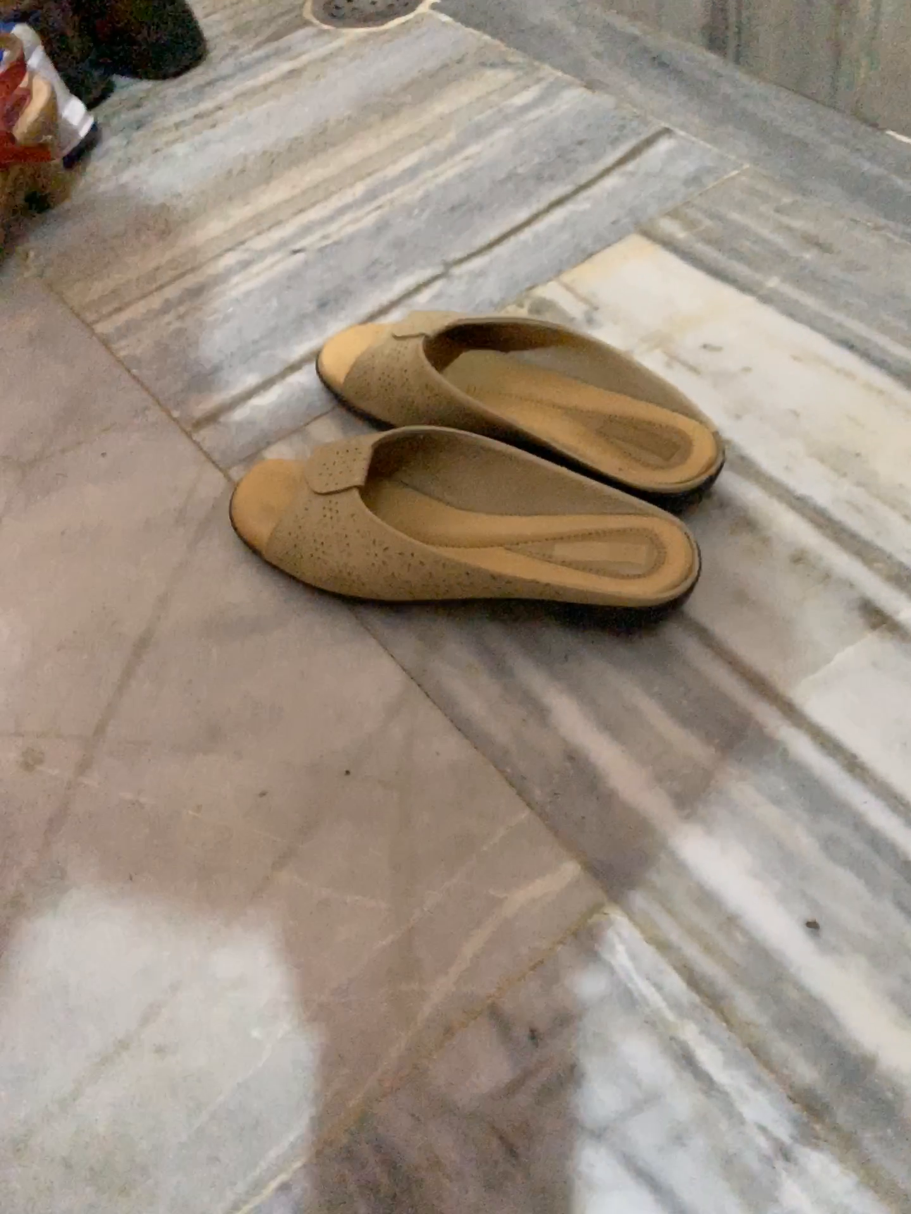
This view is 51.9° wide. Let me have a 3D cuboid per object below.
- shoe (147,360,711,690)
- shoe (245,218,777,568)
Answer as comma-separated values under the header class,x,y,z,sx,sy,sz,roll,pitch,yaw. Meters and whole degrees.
class,x,y,z,sx,sy,sz,roll,pitch,yaw
shoe,-0.013,-0.048,0.486,0.260,0.070,0.095,14,58,15
shoe,0.024,-0.129,0.530,0.274,0.070,0.095,25,62,21
